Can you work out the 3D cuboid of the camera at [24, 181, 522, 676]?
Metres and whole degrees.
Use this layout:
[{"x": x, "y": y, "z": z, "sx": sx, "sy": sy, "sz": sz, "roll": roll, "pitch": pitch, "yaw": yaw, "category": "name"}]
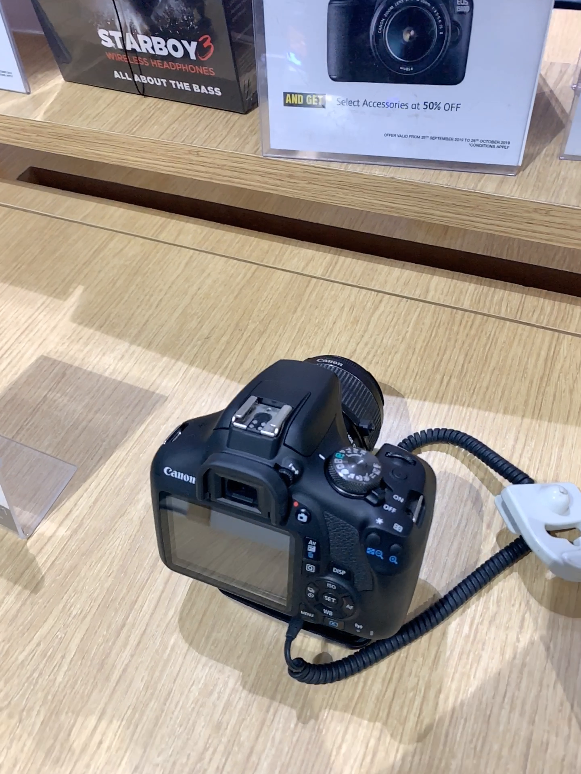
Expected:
[{"x": 0.008, "y": 0.011, "z": 0.270, "sx": 0.140, "sy": 0.110, "sz": 0.160, "roll": 14, "pitch": 57, "yaw": 17, "category": "camera"}]
